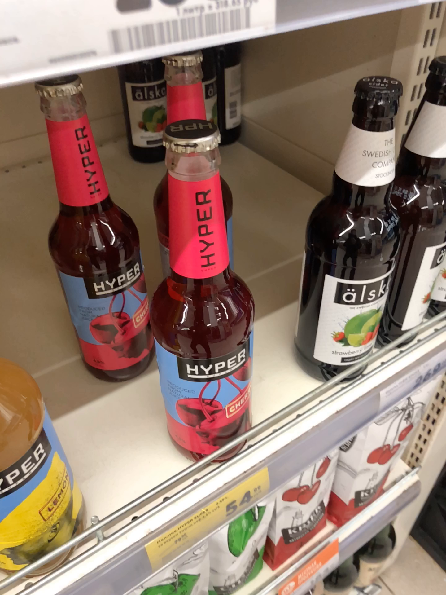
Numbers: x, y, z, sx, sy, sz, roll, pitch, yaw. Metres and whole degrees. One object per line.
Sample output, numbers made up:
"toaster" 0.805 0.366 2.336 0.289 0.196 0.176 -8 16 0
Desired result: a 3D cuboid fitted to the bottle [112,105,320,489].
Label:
"bottle" -0.004 0.017 0.318 0.080 0.243 0.070 -16 43 -16
